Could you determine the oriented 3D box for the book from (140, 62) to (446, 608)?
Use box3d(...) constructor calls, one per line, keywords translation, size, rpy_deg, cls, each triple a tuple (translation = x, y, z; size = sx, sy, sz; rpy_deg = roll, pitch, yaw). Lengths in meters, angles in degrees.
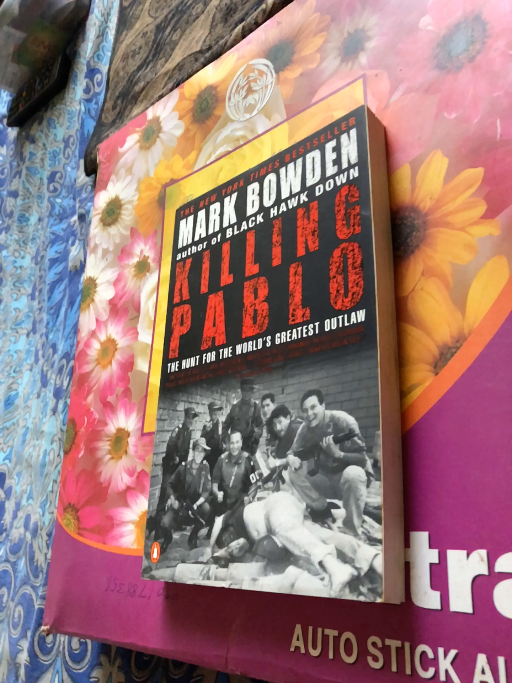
box3d(translation=(0.011, -0.001, 0.285), size=(0.151, 0.030, 0.230), rpy_deg=(-18, 60, 44), cls="book")
